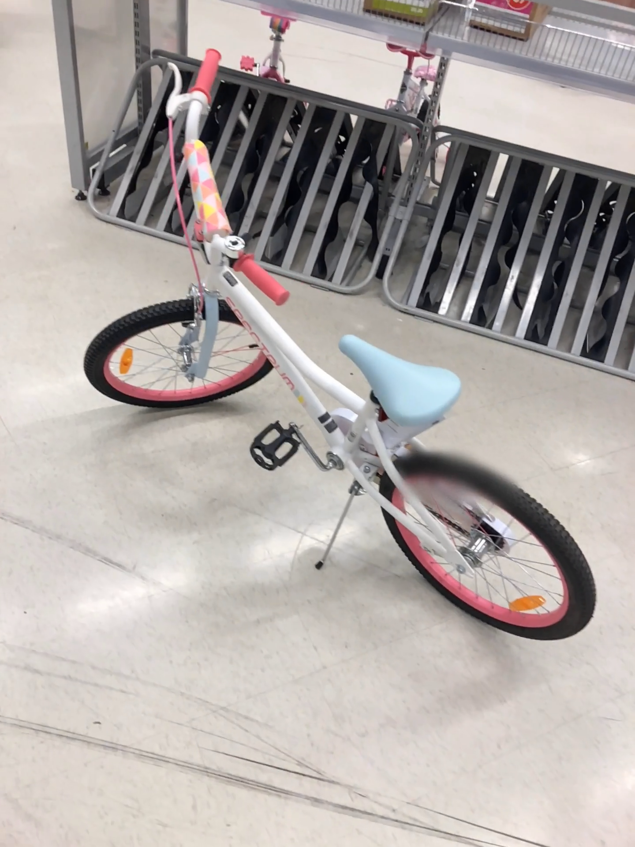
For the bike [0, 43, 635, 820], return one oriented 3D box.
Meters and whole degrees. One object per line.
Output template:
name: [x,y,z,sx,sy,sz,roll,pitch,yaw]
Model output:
bike: [-0.015,-0.023,1.363,1.252,0.961,0.634,27,45,18]
